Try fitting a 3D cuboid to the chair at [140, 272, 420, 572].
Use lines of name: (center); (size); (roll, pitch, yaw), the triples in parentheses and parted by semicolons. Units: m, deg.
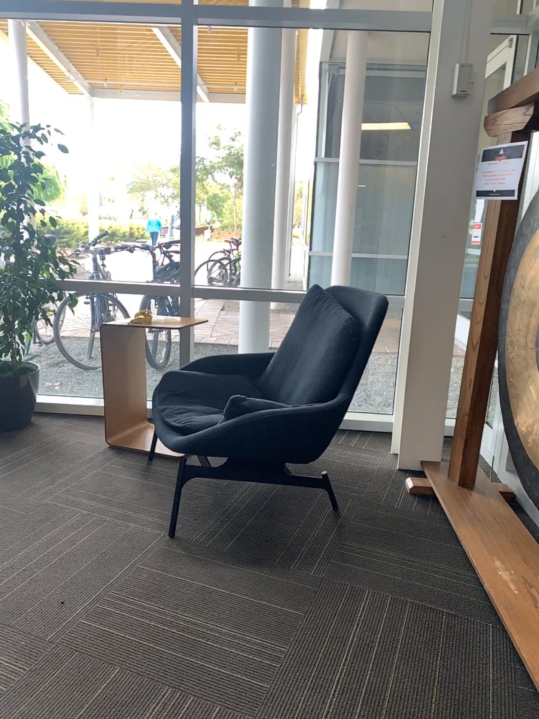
chair: (-0.046, 0.161, 2.449); (0.939, 0.997, 0.904); (-2, 14, -19)
